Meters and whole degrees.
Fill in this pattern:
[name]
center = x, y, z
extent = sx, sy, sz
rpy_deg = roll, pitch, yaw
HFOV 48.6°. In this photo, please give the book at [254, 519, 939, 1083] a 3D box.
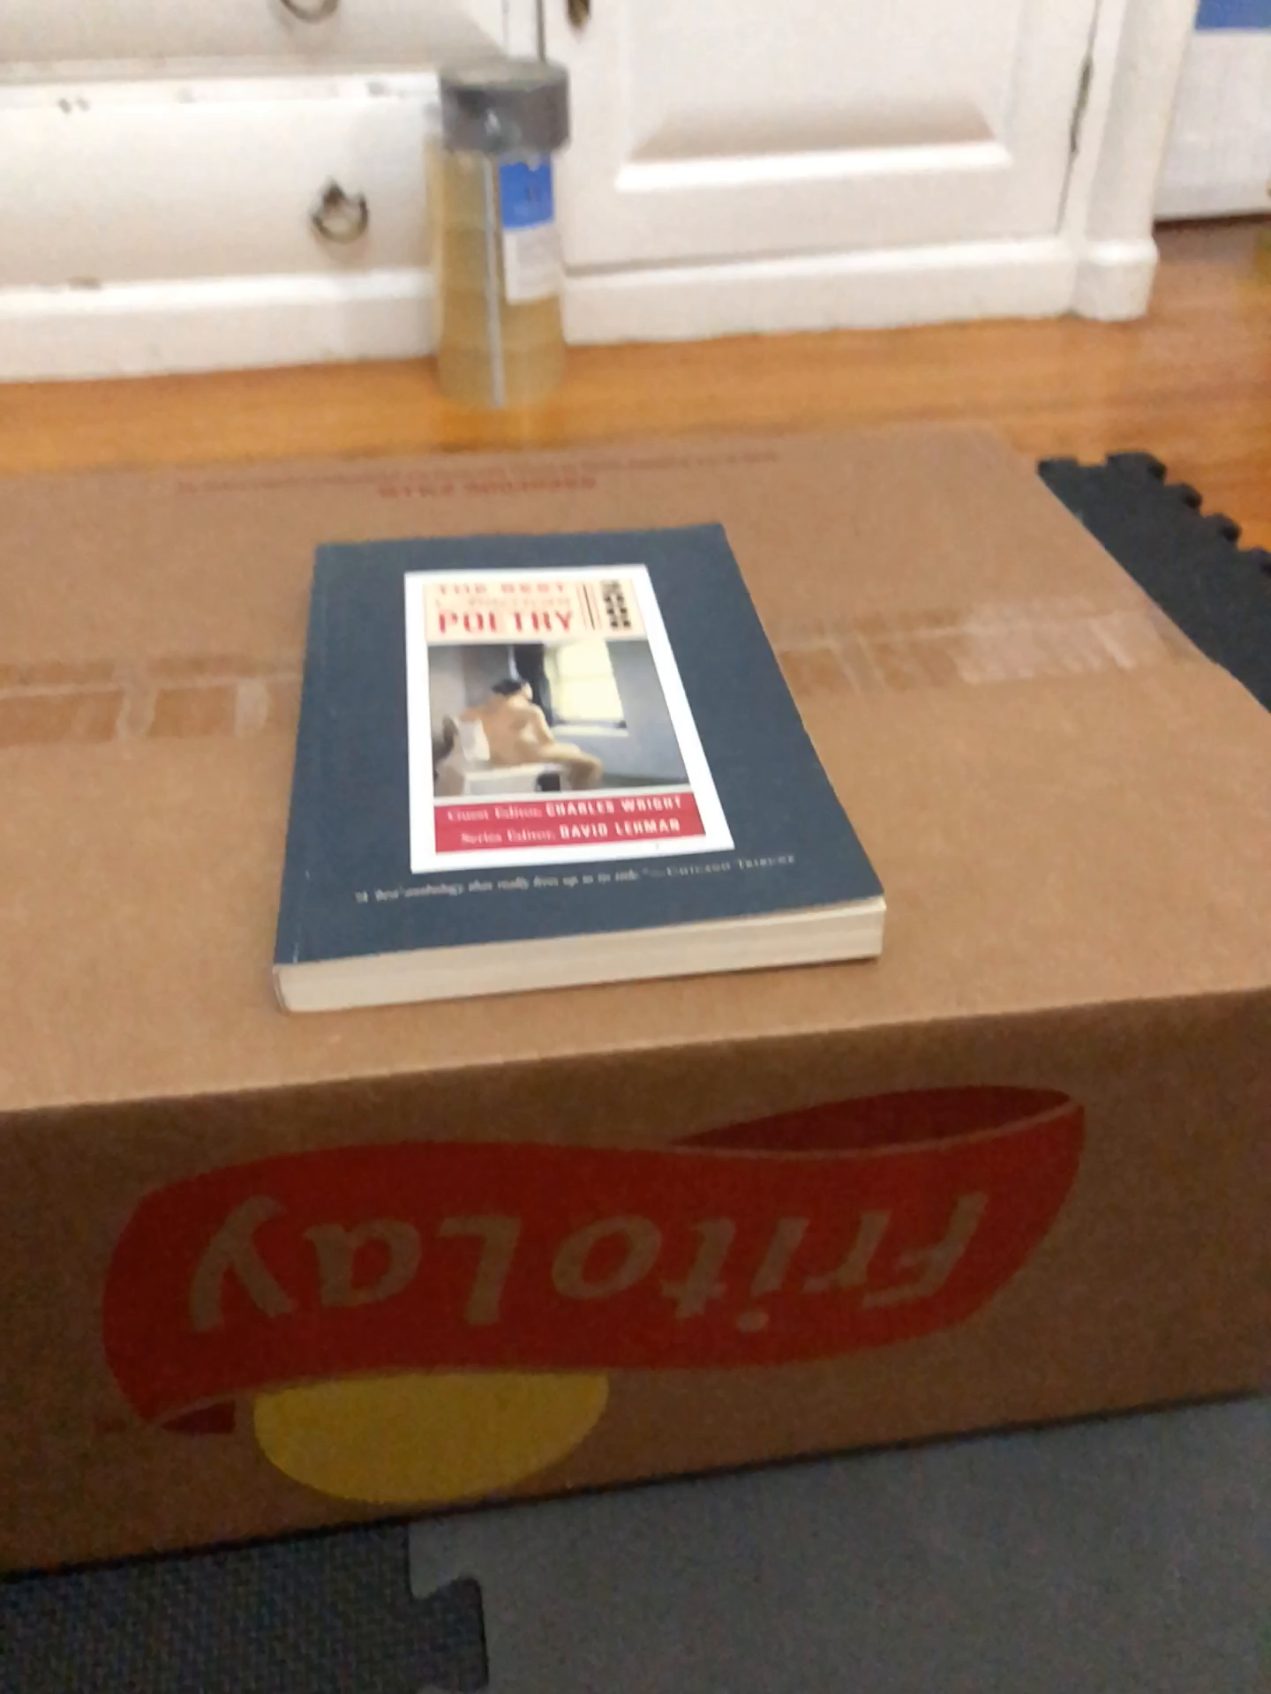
[book]
center = -0.024, -0.032, 0.403
extent = 0.150, 0.020, 0.231
rpy_deg = -5, 37, -7
